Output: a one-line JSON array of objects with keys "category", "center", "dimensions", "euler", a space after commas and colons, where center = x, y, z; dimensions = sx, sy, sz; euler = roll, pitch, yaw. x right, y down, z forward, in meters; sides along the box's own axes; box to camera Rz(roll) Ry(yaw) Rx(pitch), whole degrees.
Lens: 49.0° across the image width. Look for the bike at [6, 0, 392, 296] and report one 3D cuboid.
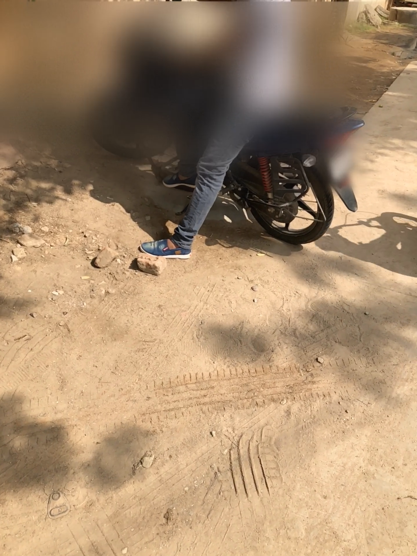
[{"category": "bike", "center": [-0.132, -0.944, 2.596], "dimensions": [1.785, 1.241, 0.743], "euler": [27, 41, 28]}]
